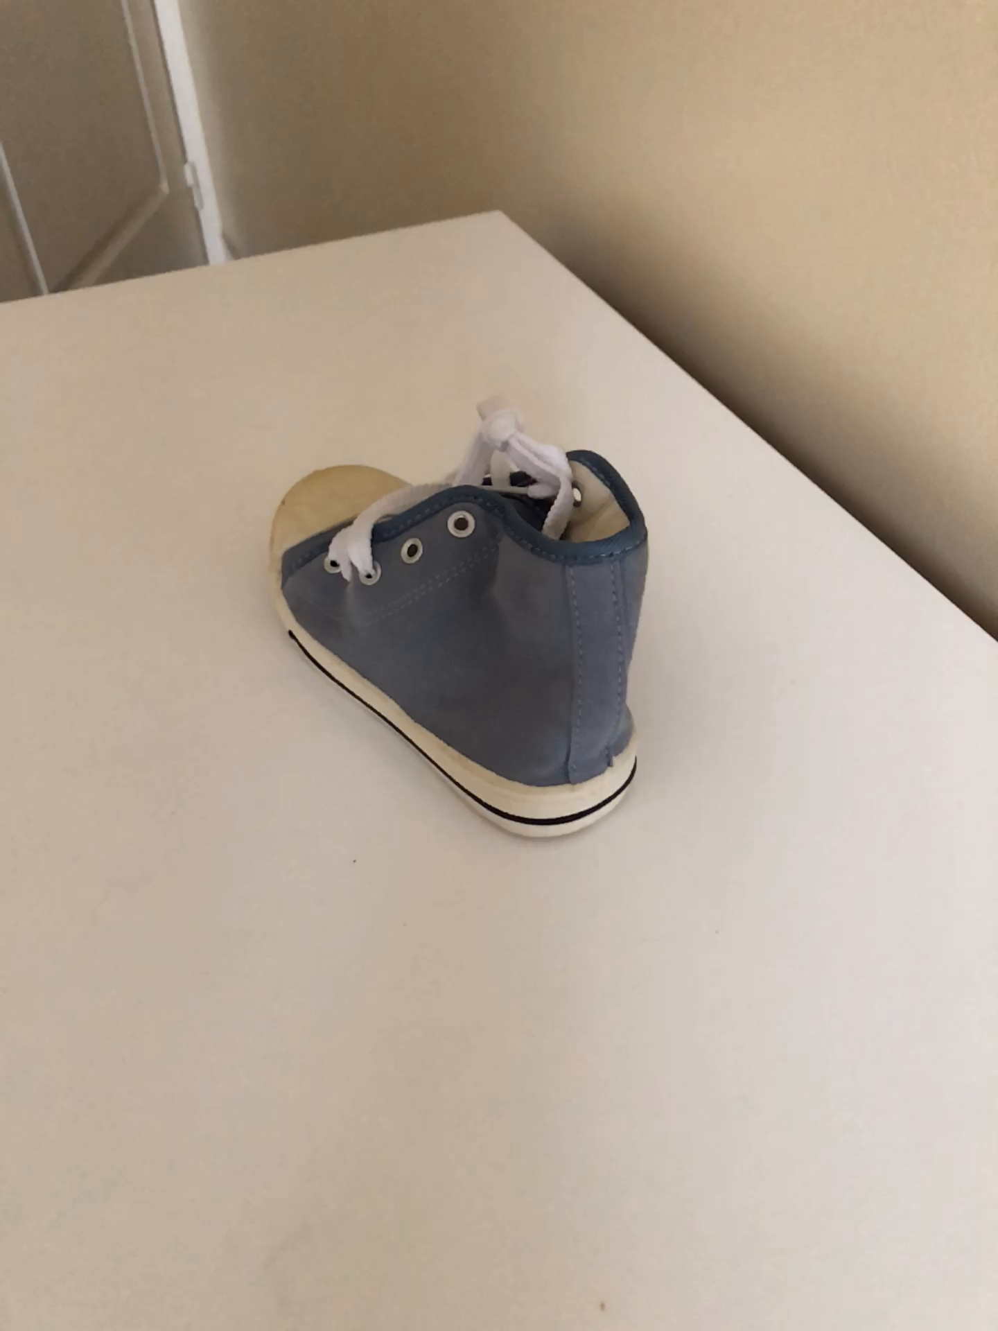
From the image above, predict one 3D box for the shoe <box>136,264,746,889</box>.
[{"bbox_3d":[-0.026,-0.040,0.352,0.080,0.099,0.190,-29,48,-27],"label":"shoe"}]
